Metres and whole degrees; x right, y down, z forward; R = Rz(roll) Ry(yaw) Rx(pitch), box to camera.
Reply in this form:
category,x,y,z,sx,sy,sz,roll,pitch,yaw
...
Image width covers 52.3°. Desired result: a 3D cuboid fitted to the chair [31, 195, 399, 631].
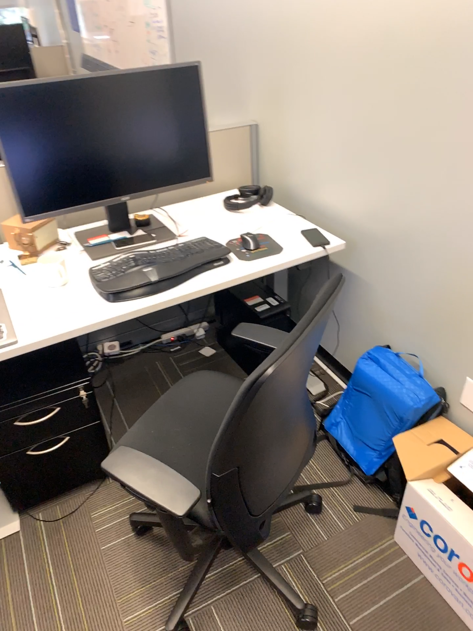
category,x,y,z,sx,sy,sz,roll,pitch,yaw
chair,0.034,0.266,1.485,0.611,0.945,0.833,14,38,23
